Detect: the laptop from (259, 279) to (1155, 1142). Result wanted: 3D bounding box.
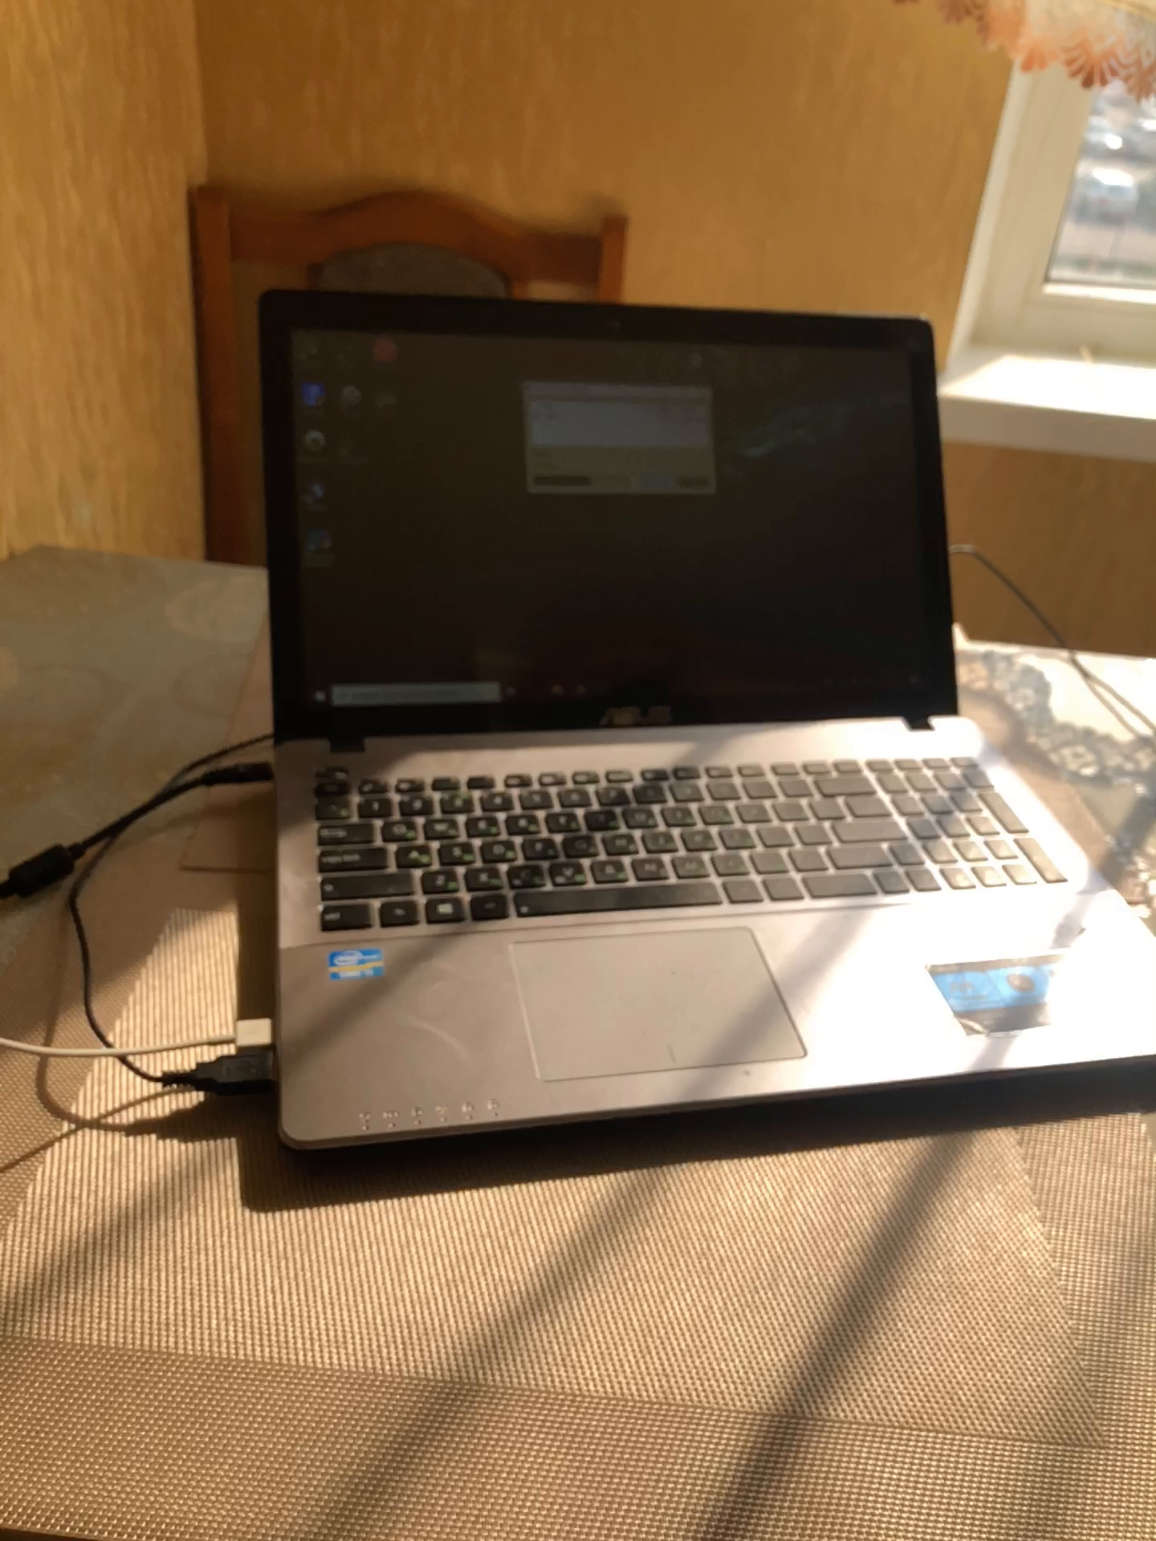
[{"bbox_3d":[0.052,-0.071,0.594,0.378,0.183,0.399,-2,35,-13],"label":"laptop"}]
